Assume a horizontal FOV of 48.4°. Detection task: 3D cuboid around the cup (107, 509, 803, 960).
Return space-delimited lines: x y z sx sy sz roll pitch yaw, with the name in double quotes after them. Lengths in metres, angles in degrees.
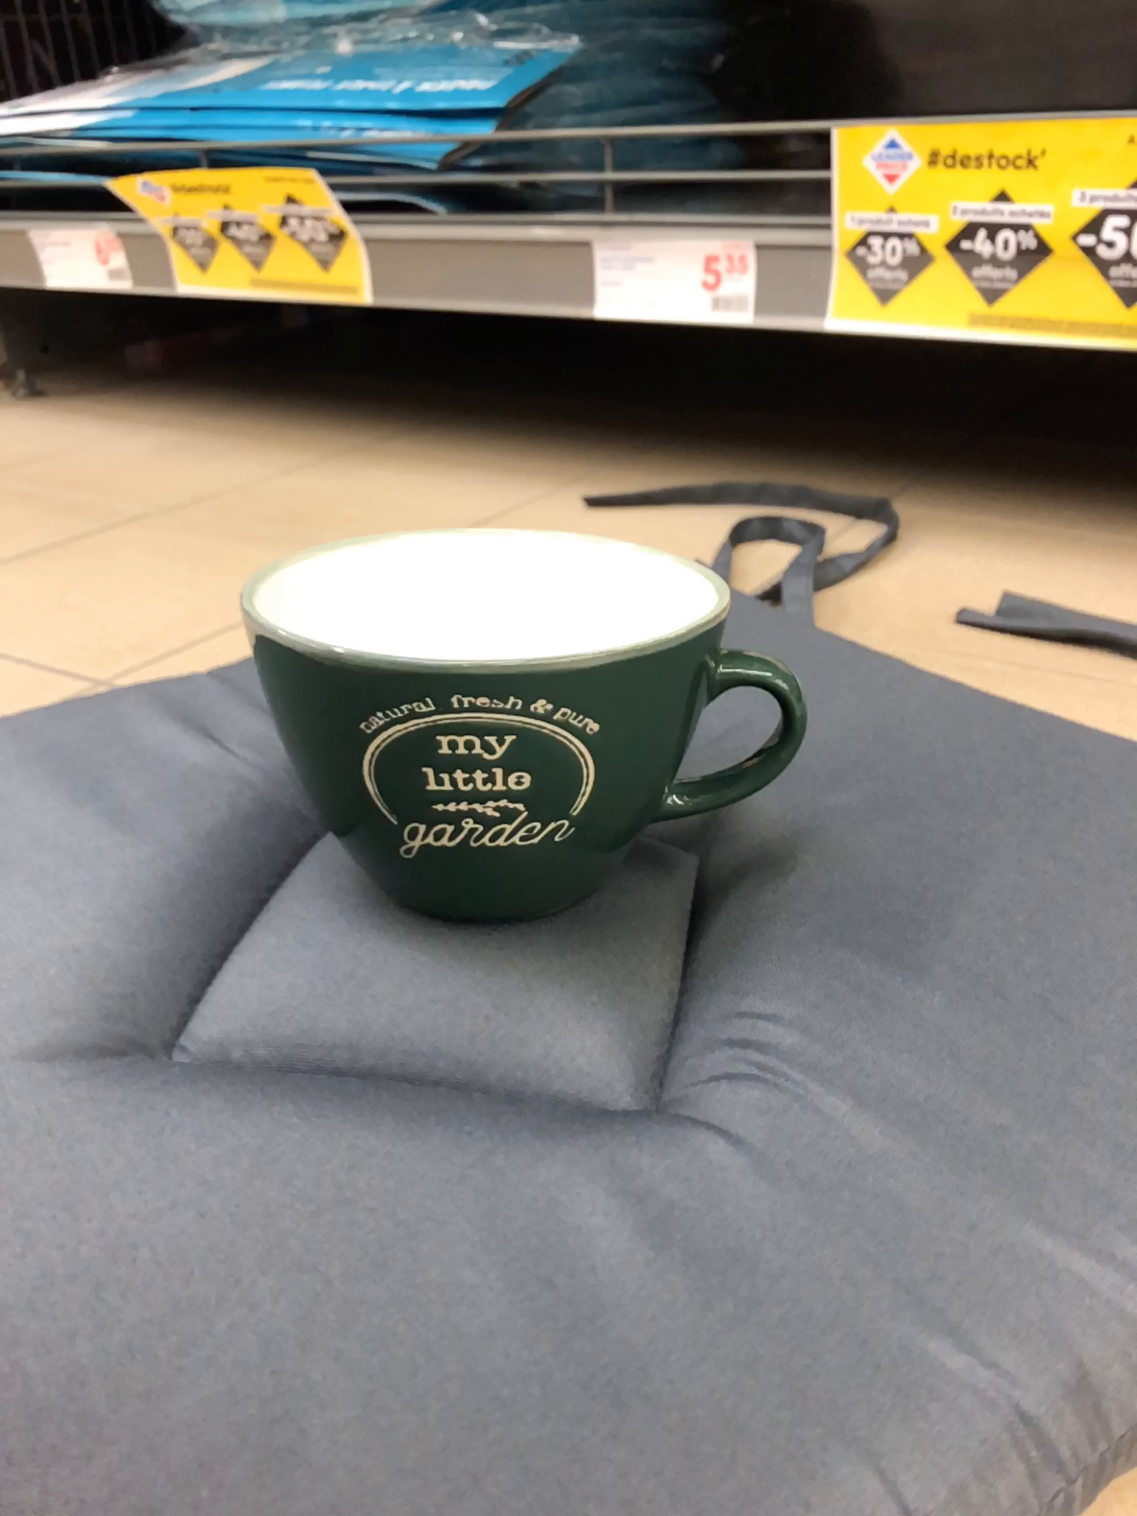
-0.018 -0.012 0.301 0.130 0.060 0.121 -2 26 1 "cup"
